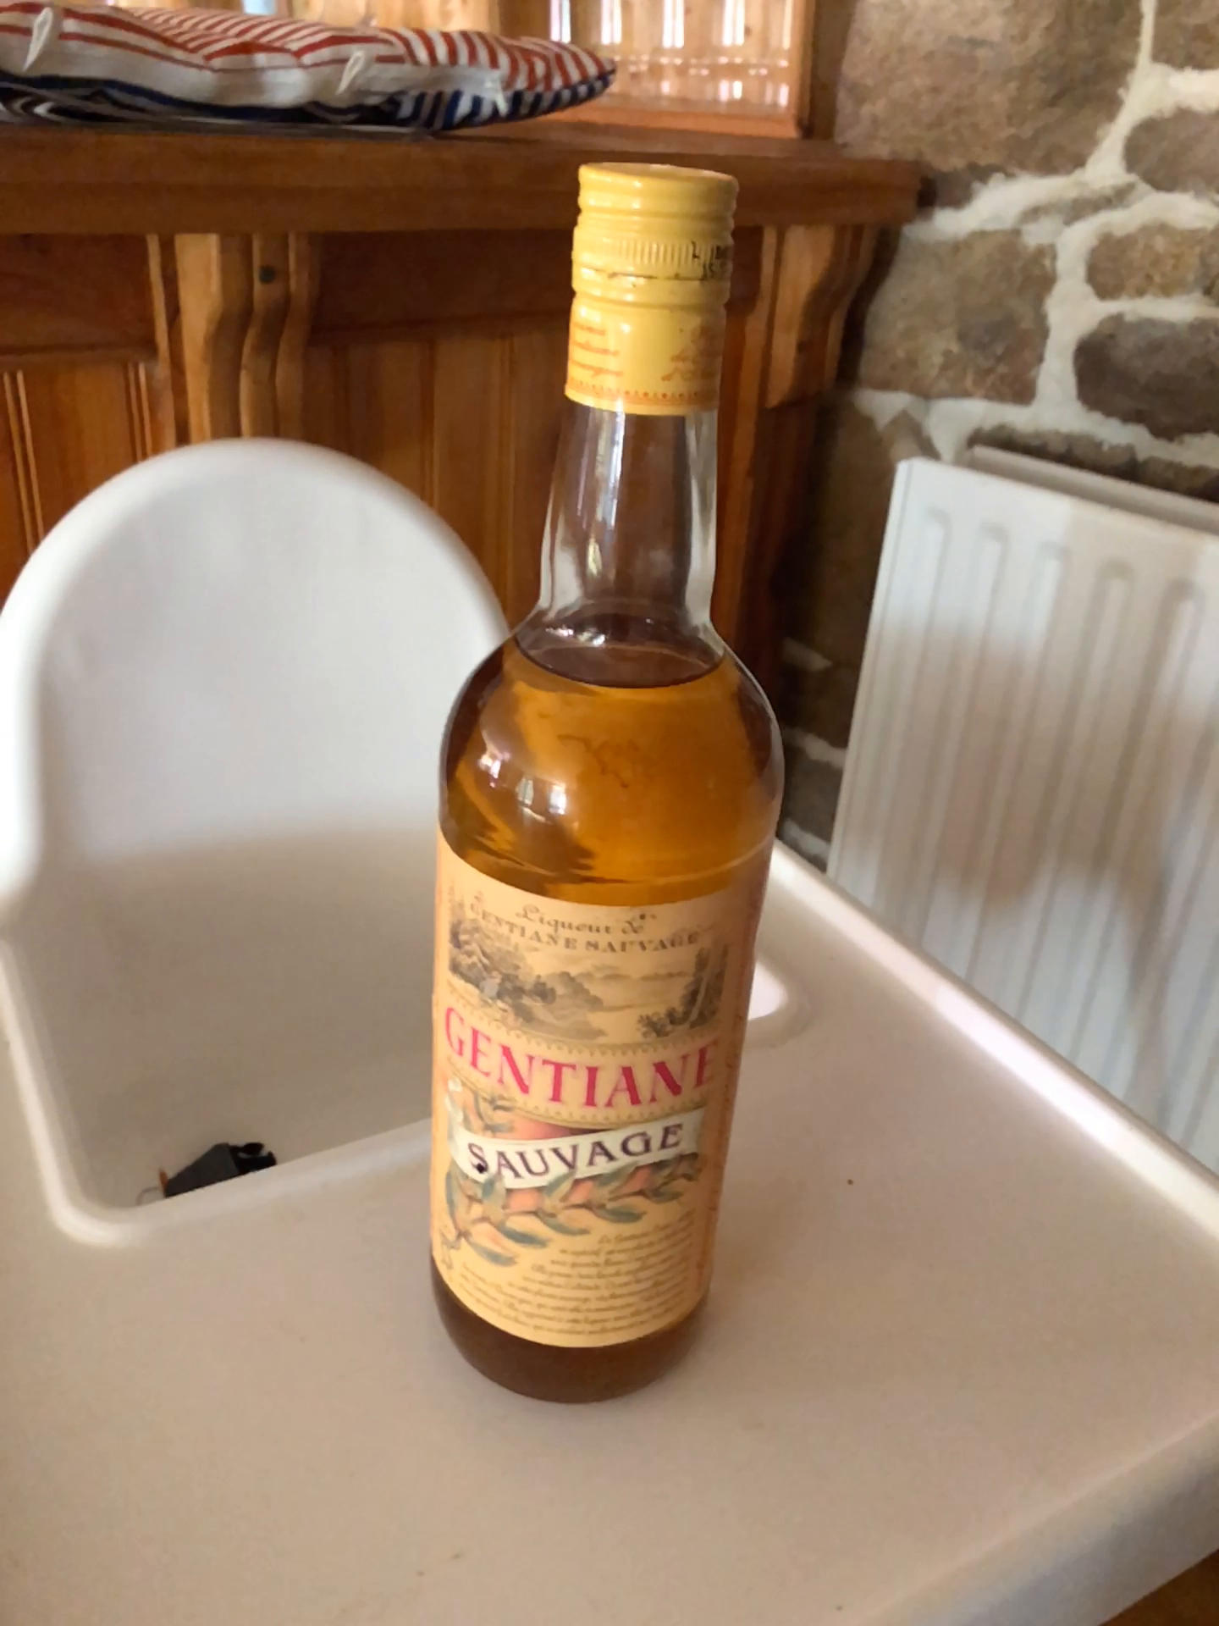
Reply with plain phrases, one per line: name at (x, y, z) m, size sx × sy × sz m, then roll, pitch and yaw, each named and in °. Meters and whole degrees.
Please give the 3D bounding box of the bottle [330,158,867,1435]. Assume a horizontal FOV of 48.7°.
bottle at (-0.005, 0.008, 0.332) m, size 0.090 × 0.298 × 0.081 m, roll 8°, pitch 28°, yaw 9°
